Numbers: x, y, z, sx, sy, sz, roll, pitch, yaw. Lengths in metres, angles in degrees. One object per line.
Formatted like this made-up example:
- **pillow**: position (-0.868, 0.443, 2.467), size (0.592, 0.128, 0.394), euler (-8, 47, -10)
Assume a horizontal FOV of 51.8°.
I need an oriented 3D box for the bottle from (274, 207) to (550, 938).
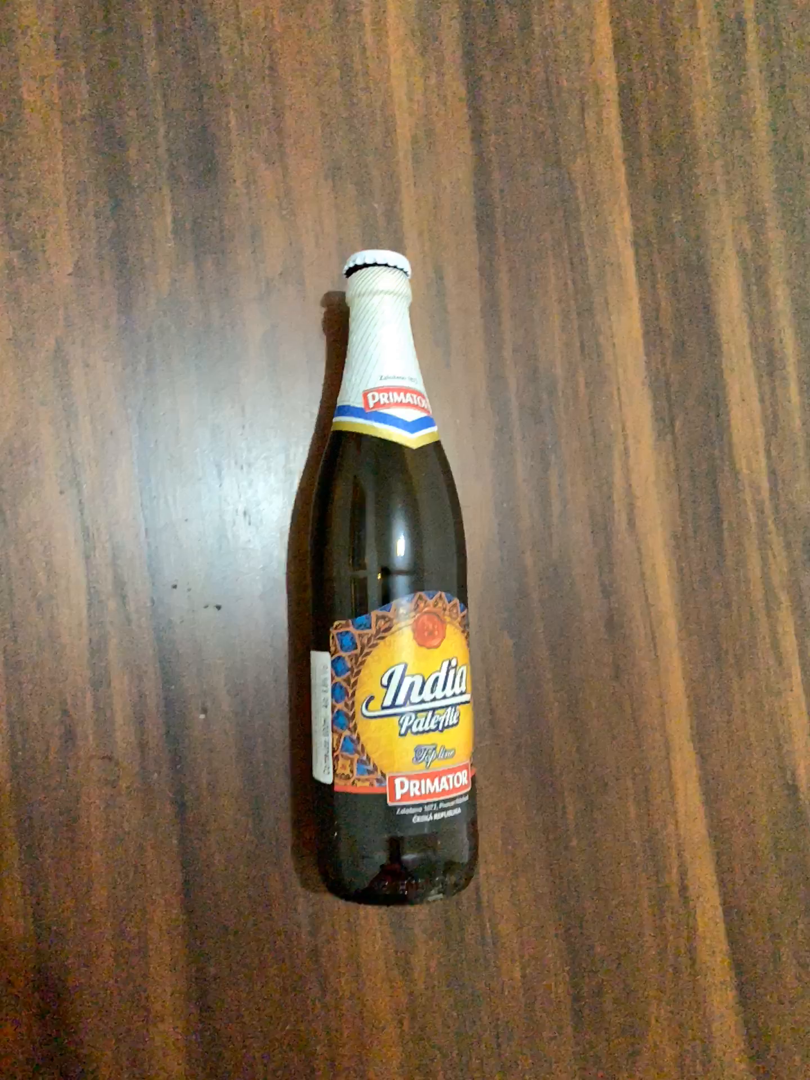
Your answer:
- **bottle**: position (0.000, 0.010, 0.341), size (0.080, 0.060, 0.260), euler (-1, 85, -27)
